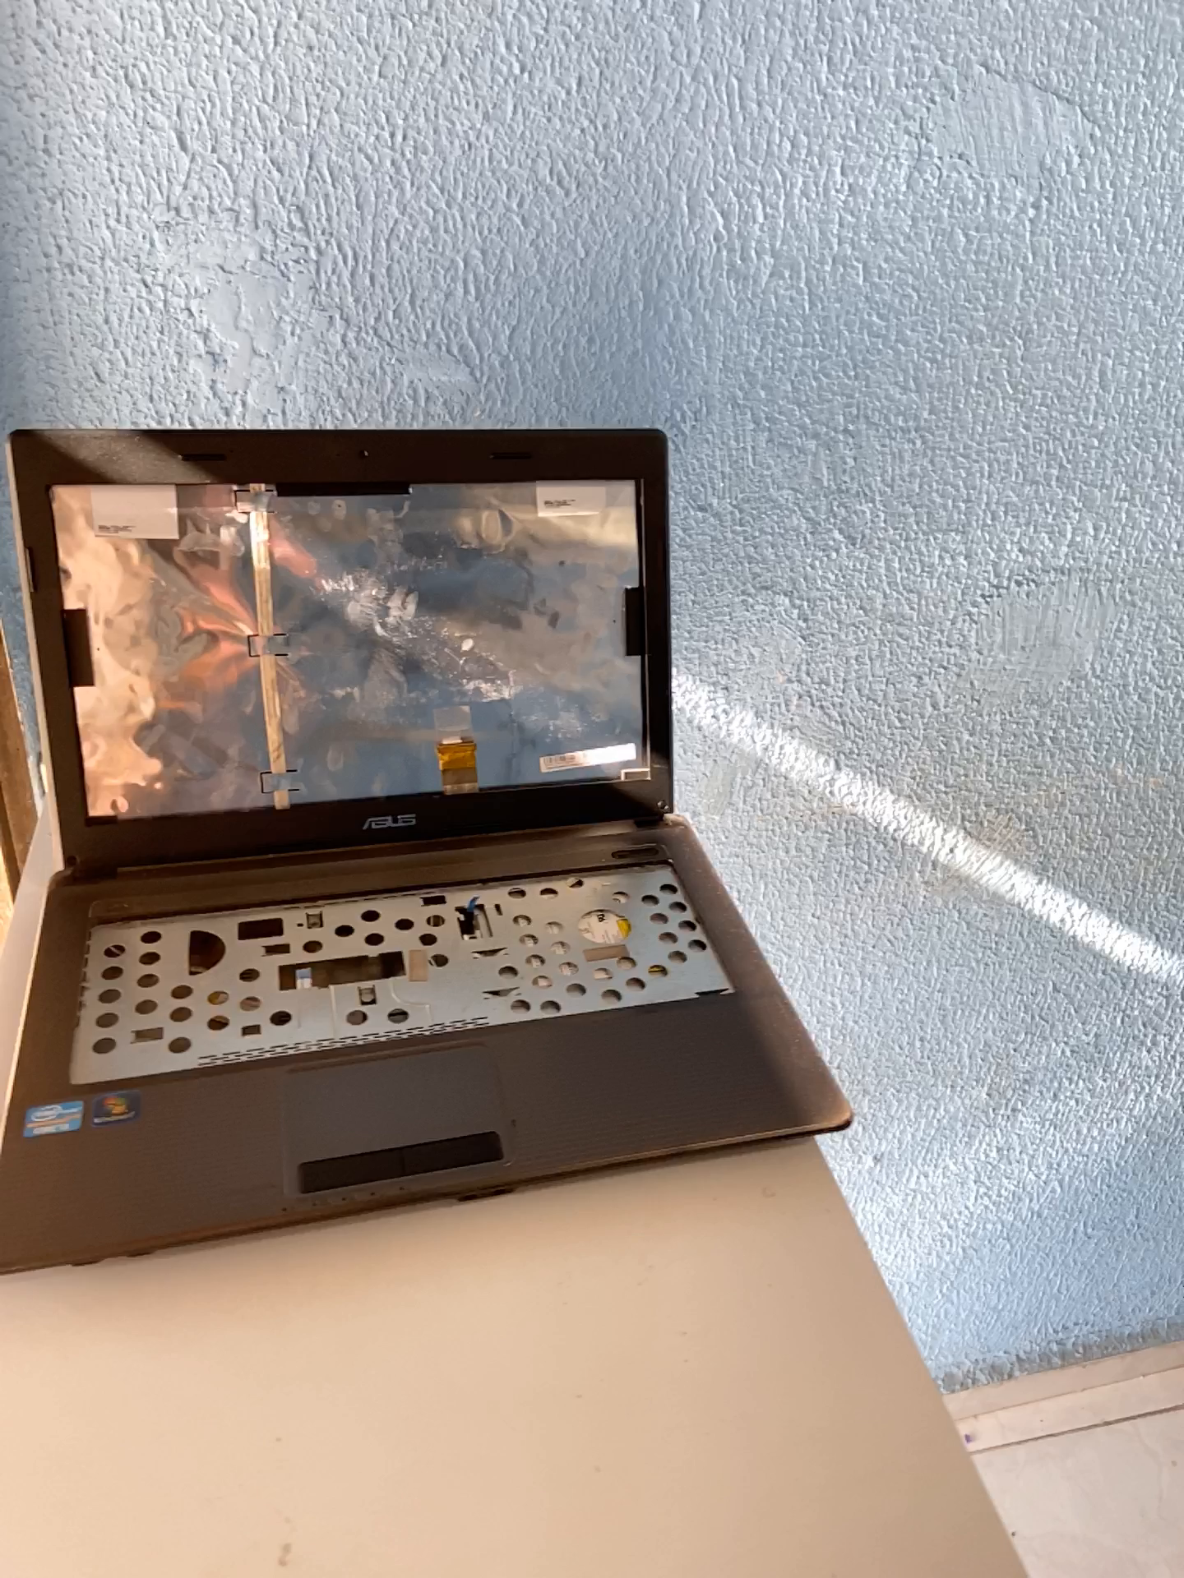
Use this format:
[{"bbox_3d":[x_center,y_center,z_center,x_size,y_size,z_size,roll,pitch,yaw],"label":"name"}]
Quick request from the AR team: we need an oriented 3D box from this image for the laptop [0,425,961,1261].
[{"bbox_3d":[-0.087,-0.017,0.557,0.336,0.202,0.328,-4,33,-15],"label":"laptop"}]
